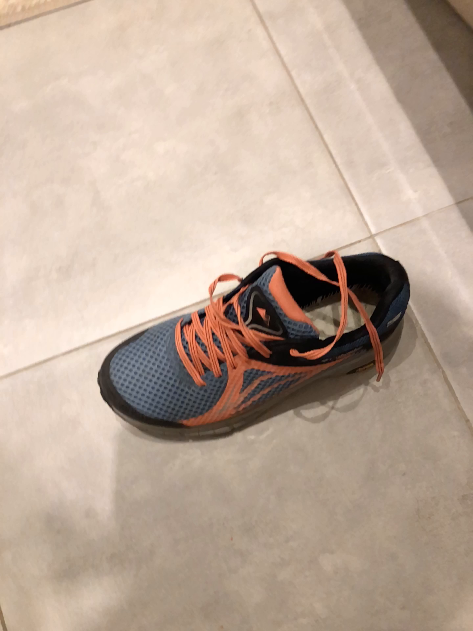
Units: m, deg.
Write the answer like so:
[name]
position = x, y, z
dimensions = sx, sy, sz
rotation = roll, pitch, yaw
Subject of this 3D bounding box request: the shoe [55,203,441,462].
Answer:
[shoe]
position = 0.007, 0.018, 0.410
dimensions = 0.250, 0.090, 0.110
rotation = -19, 74, -3
